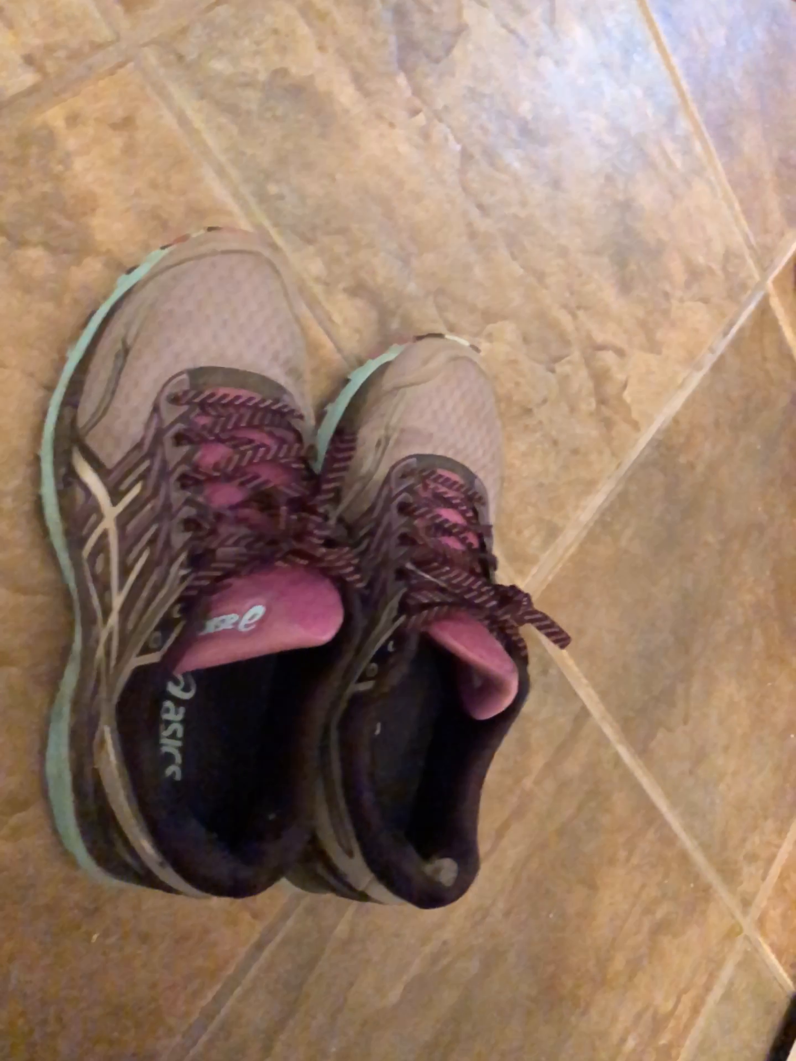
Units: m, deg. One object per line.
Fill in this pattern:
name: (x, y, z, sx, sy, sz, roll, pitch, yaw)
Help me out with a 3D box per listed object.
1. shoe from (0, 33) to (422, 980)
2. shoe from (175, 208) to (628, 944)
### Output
shoe: (-0.078, -0.007, 0.338, 0.110, 0.120, 0.280, 5, 87, -35)
shoe: (0.002, 0.022, 0.405, 0.110, 0.120, 0.280, 17, 81, -34)
